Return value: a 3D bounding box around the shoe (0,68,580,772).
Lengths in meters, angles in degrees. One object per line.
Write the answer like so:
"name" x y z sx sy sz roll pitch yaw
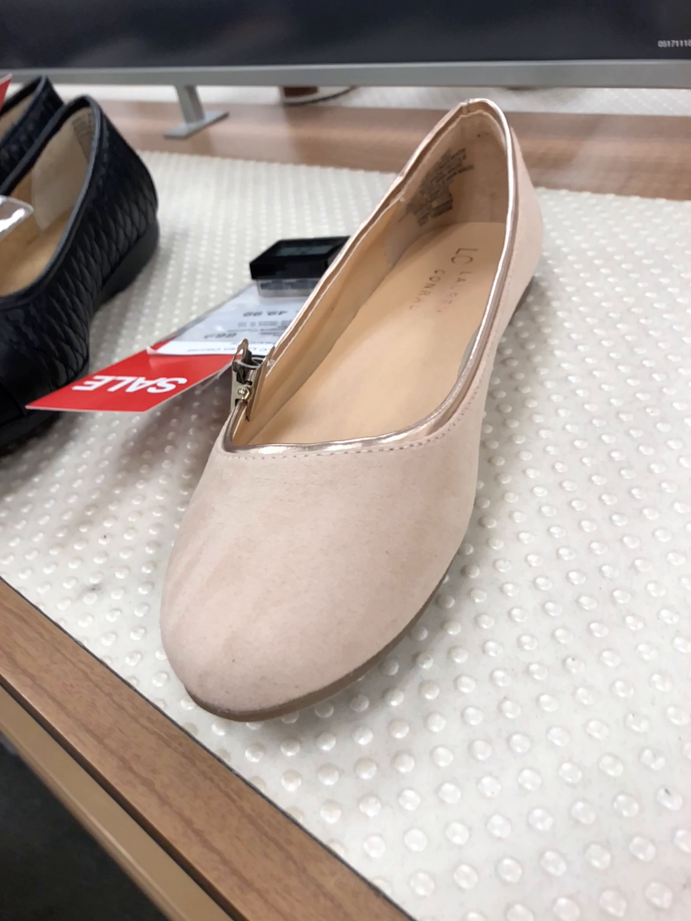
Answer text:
"shoe" 0.003 -0.041 0.227 0.085 0.064 0.229 6 43 25
